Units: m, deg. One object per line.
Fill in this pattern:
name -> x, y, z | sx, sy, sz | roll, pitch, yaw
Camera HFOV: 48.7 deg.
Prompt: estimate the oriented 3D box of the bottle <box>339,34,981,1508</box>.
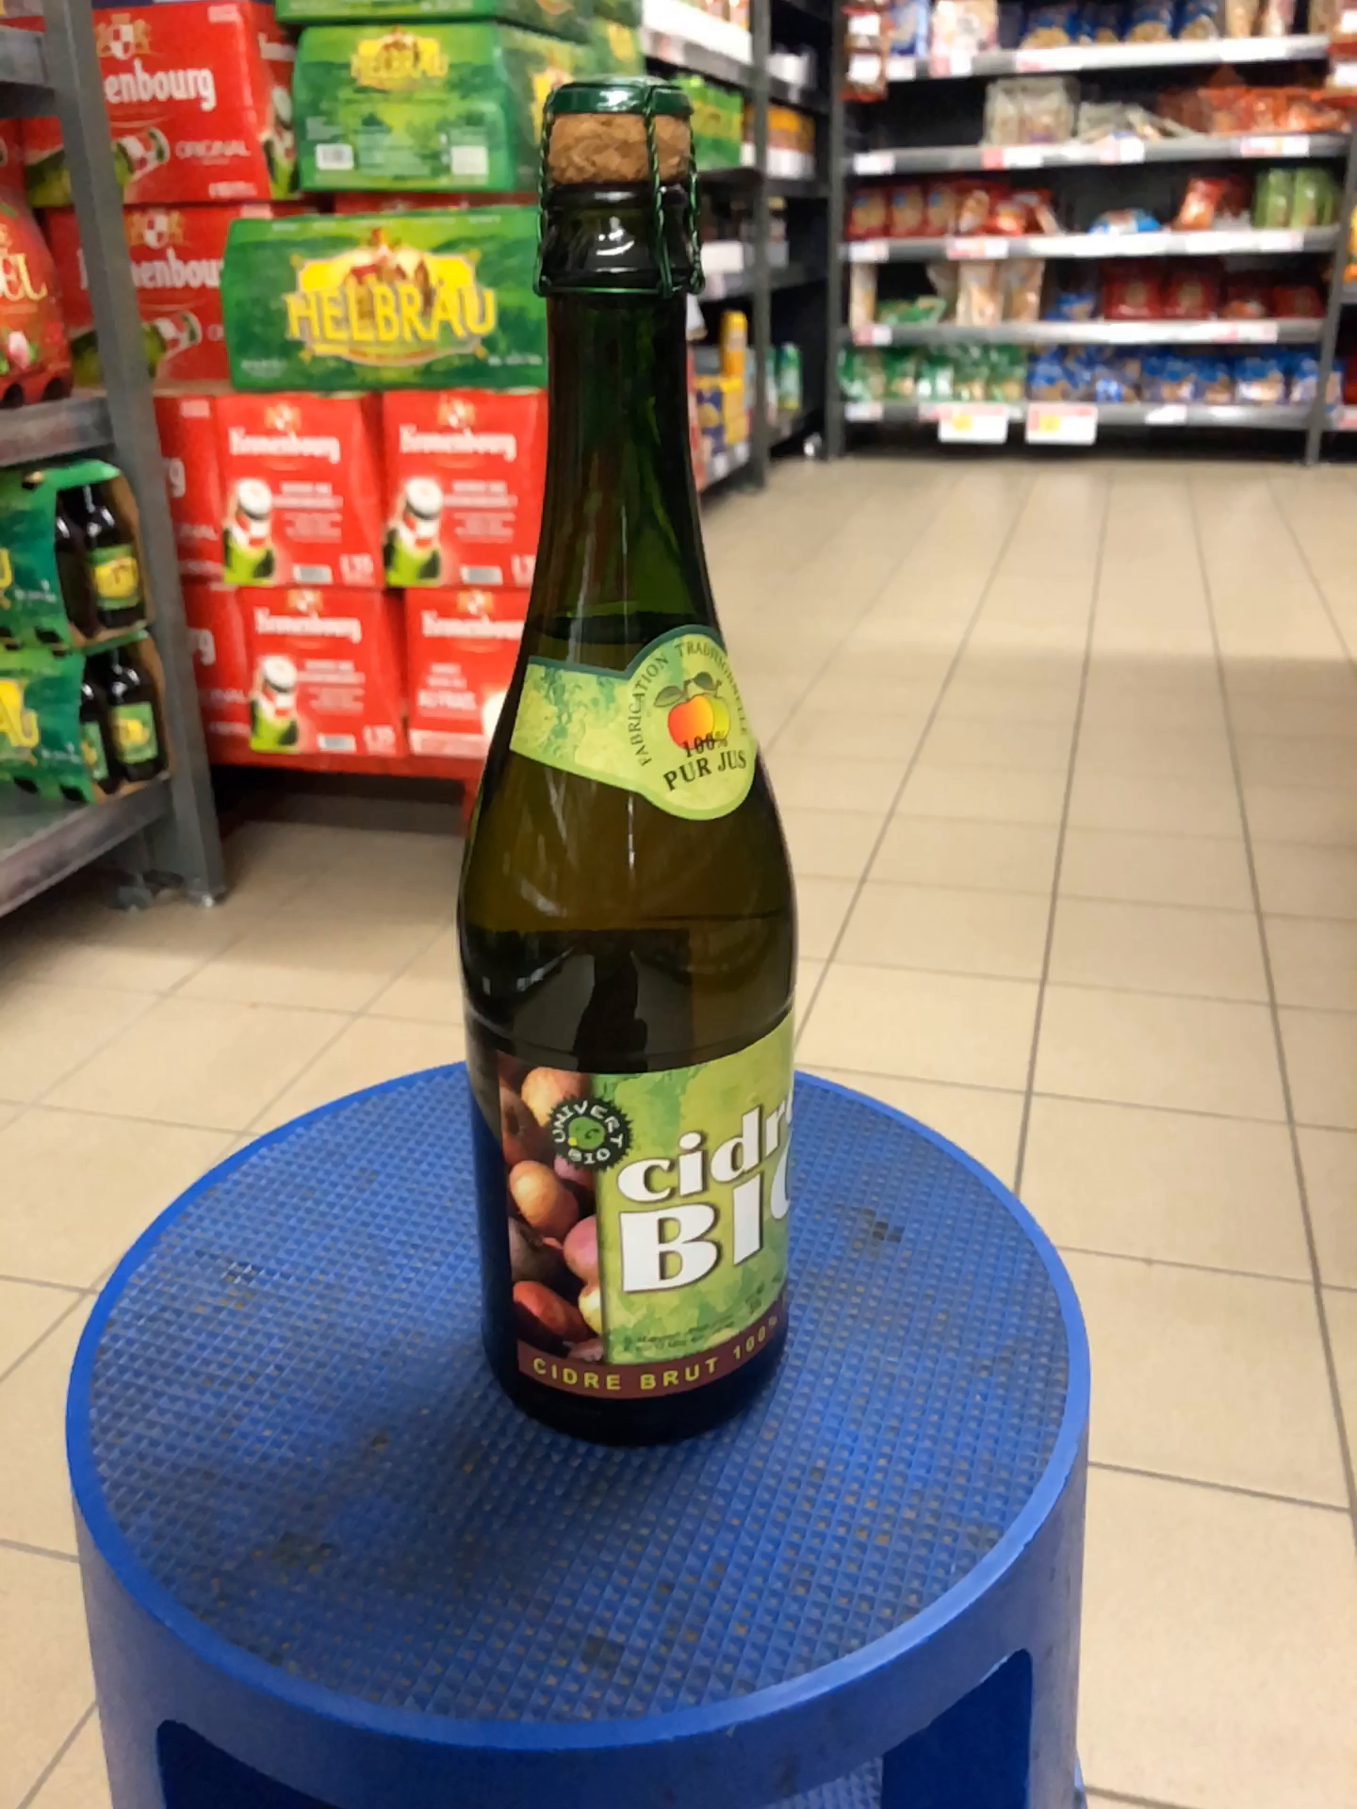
bottle -> -0.004, -0.022, 0.335 | 0.090, 0.289, 0.090 | -1, 23, 1
